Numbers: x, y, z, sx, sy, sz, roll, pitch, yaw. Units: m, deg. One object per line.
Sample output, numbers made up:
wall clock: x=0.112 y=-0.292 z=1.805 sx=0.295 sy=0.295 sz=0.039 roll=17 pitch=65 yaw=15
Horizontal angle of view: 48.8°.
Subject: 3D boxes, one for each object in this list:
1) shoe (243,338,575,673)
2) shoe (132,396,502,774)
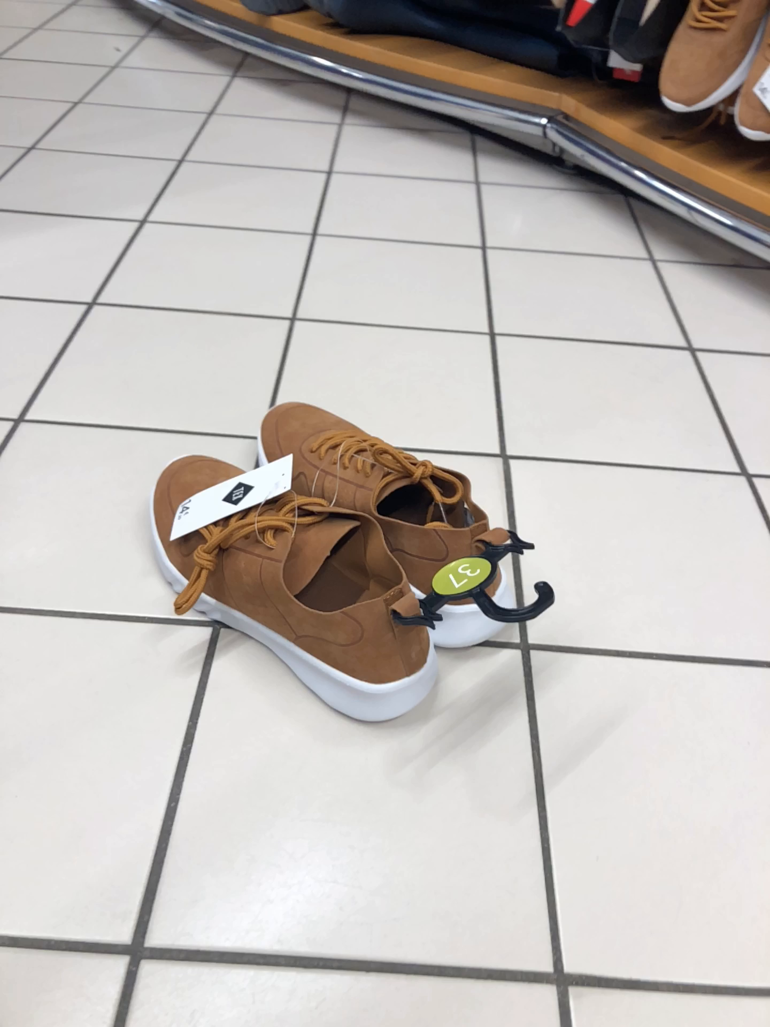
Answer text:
shoe: x=0.005 y=-0.015 z=0.577 sx=0.090 sy=0.099 sz=0.220 roll=-27 pitch=51 yaw=-31
shoe: x=-0.051 y=0.034 z=0.537 sx=0.090 sy=0.099 sz=0.230 roll=-31 pitch=53 yaw=-34
